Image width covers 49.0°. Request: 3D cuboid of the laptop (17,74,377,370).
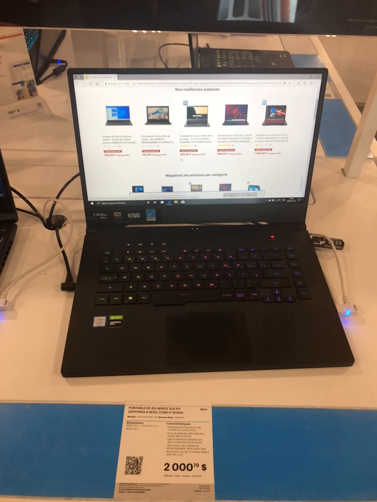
[{"bbox_3d":[0.025,-0.050,0.520,0.340,0.207,0.316,-1,46,-1],"label":"laptop"}]
